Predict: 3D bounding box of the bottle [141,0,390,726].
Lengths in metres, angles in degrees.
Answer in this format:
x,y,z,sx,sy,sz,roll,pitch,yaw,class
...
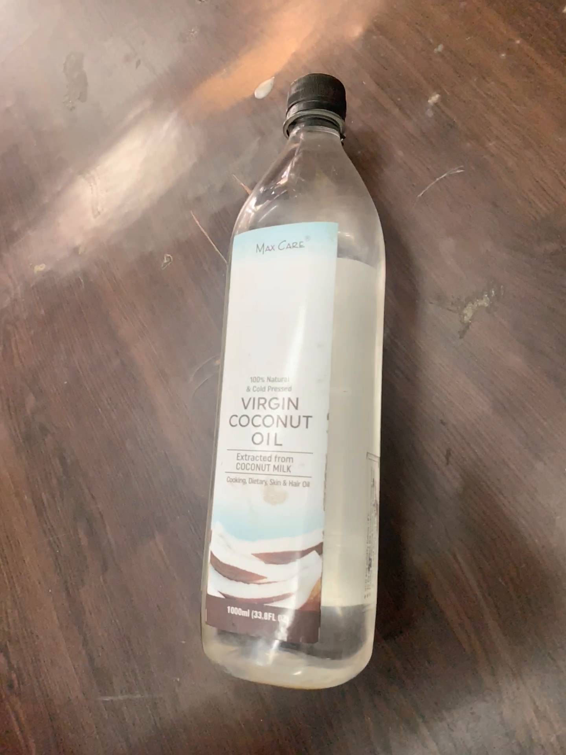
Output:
x,y,z,sx,sy,sz,roll,pitch,yaw,class
0.000,-0.016,0.272,0.080,0.070,0.290,-1,80,23,bottle
